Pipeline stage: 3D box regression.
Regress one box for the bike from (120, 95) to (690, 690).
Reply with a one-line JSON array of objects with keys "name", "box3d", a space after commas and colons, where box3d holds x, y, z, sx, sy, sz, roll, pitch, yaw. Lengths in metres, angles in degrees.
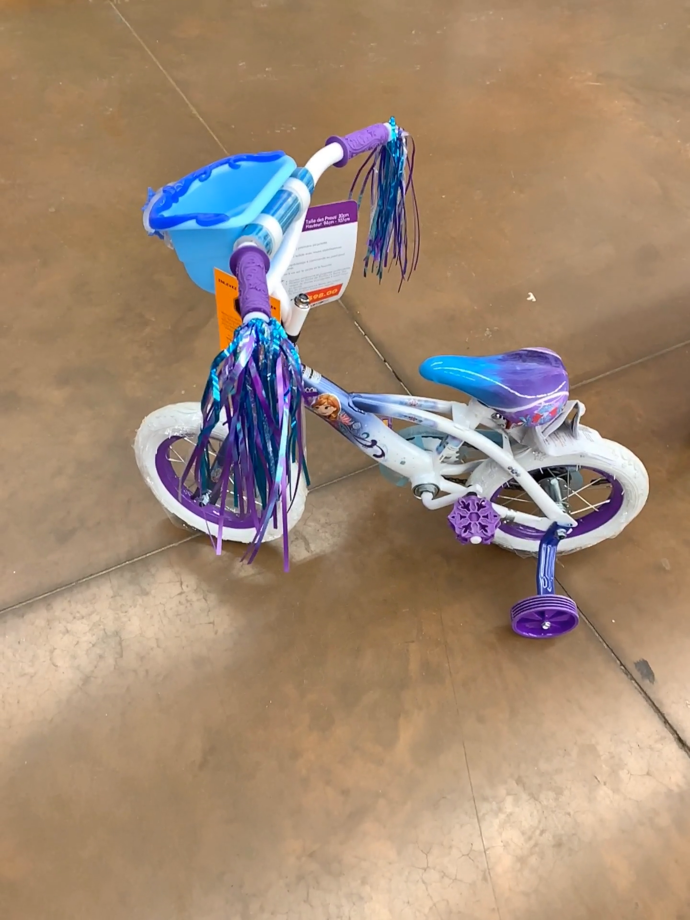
[{"name": "bike", "box3d": [0.154, -0.049, 0.962, 0.651, 0.643, 0.474, 1, 52, -4]}]
